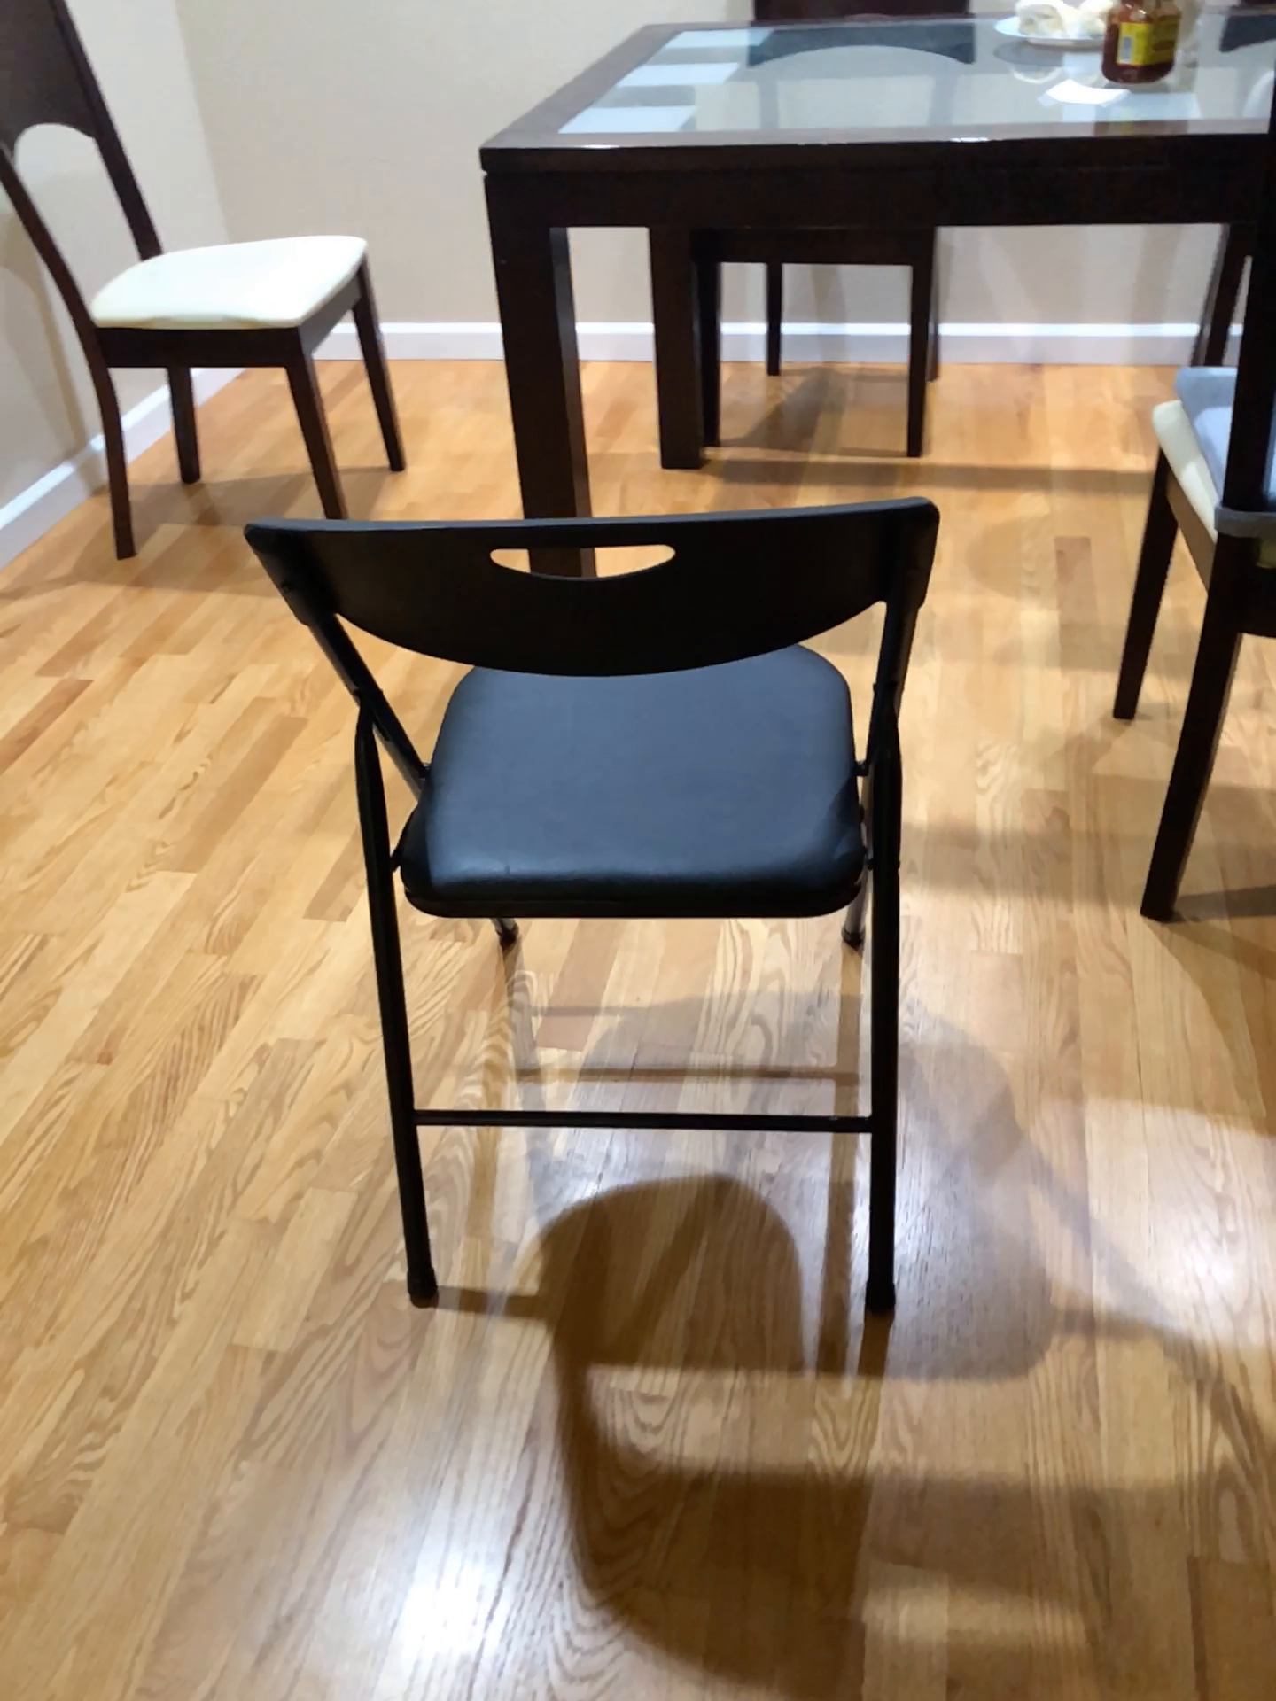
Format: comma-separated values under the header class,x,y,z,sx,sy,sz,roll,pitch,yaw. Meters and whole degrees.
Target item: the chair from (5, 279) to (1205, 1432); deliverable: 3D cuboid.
class,x,y,z,sx,sy,sz,roll,pitch,yaw
chair,0.021,-0.029,1.170,0.610,0.656,0.684,1,38,7
